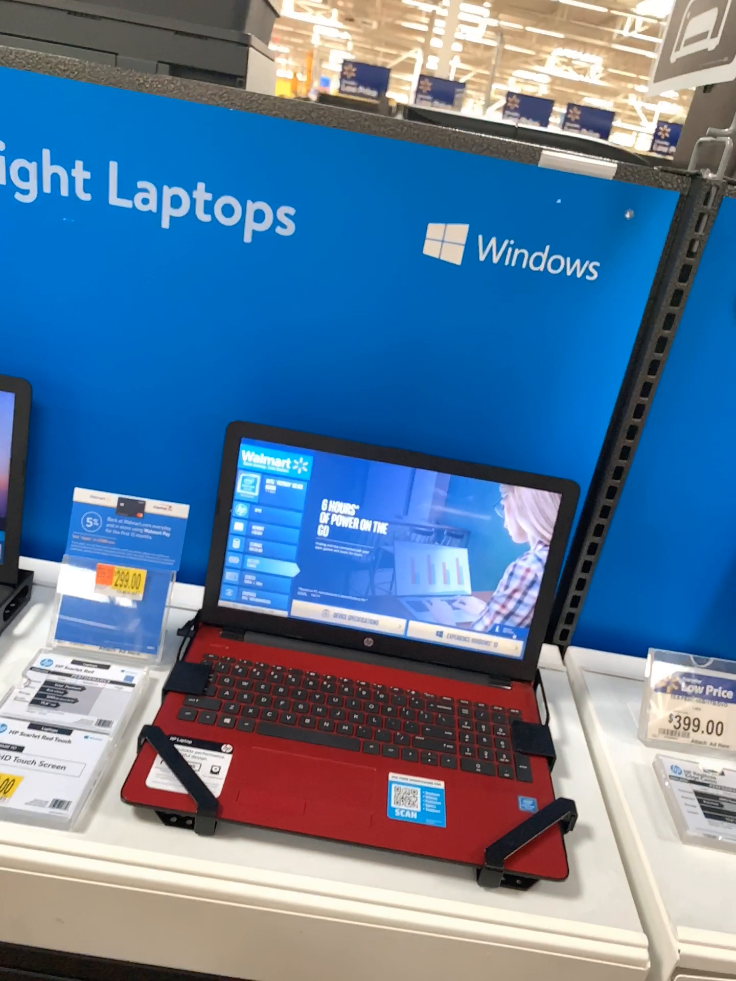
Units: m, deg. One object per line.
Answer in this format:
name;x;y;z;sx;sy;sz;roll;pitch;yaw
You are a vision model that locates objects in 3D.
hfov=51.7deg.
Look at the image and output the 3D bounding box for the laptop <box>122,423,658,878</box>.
laptop;0.012;0.121;0.690;0.364;0.223;0.280;10;25;0
